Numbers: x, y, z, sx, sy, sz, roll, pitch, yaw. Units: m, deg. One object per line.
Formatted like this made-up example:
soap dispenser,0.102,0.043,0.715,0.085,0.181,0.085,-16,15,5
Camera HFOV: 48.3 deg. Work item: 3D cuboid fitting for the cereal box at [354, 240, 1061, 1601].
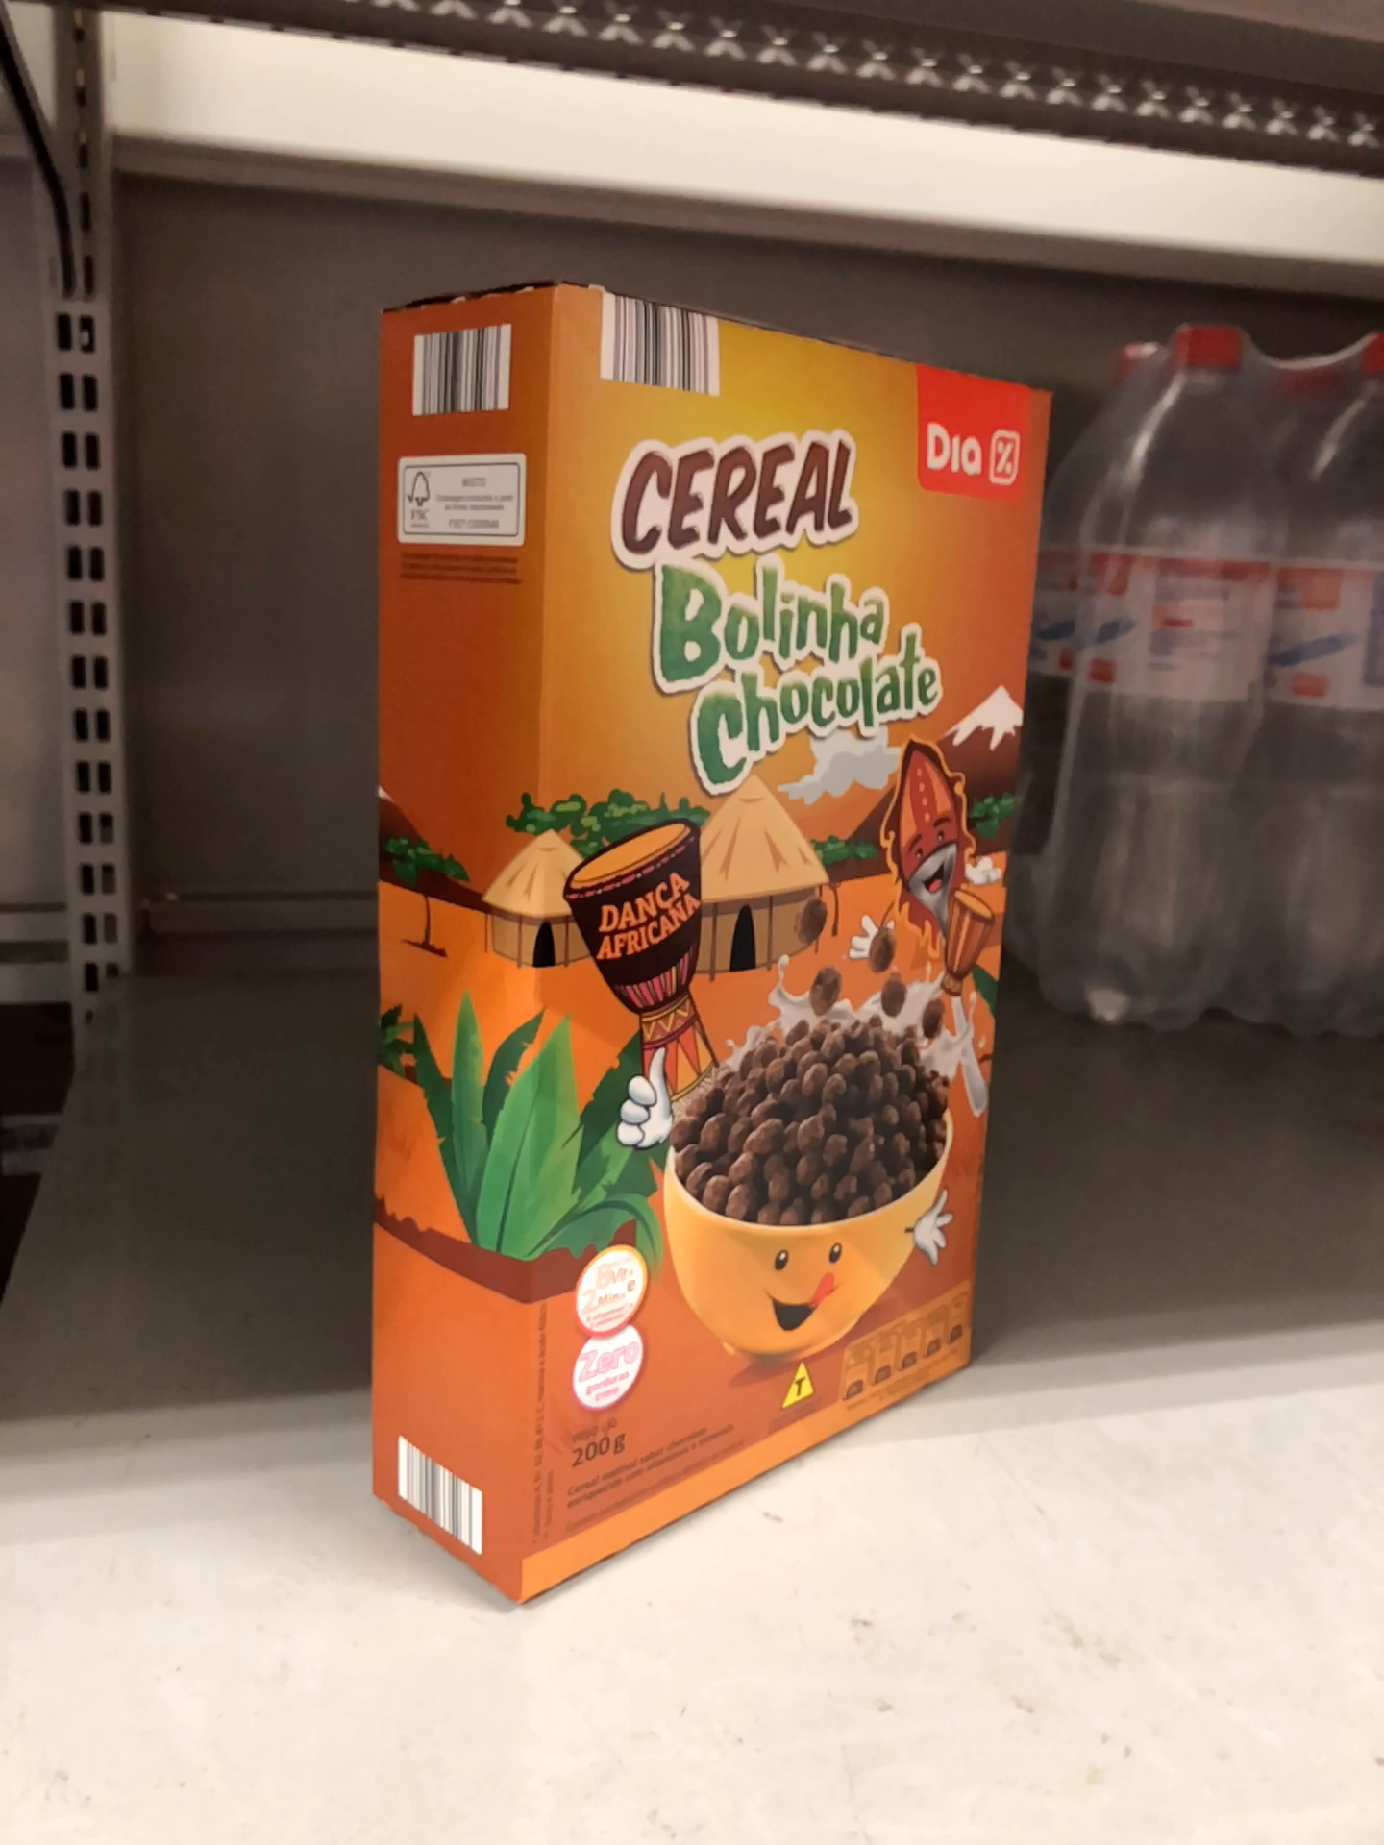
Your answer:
cereal box,0.008,-0.005,0.371,0.060,0.259,0.170,11,13,43
